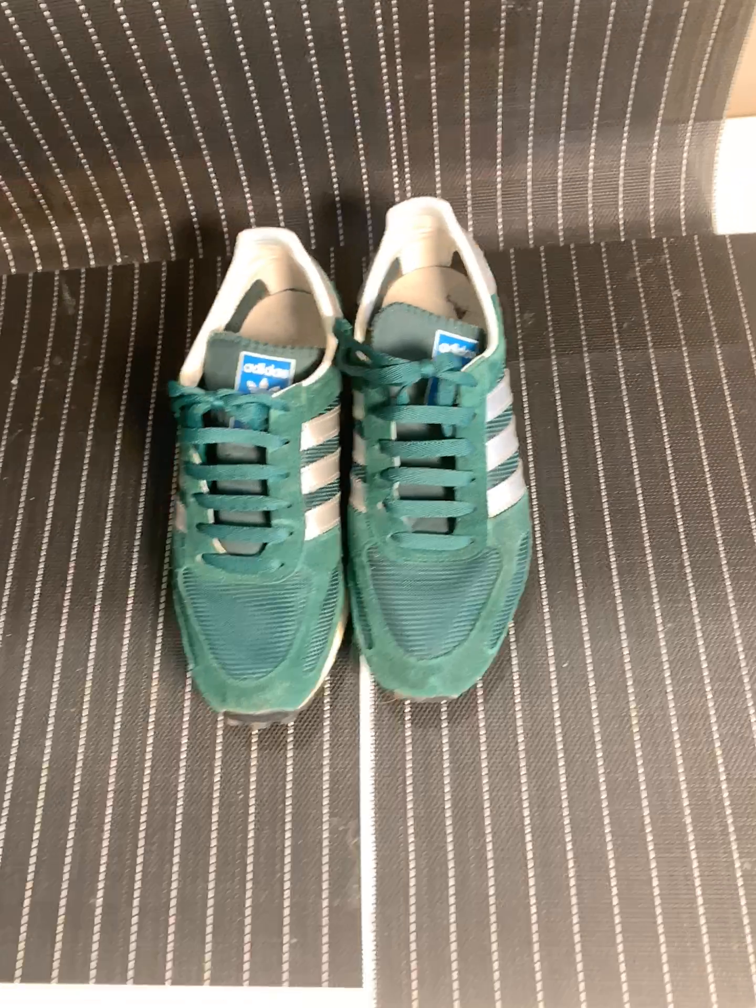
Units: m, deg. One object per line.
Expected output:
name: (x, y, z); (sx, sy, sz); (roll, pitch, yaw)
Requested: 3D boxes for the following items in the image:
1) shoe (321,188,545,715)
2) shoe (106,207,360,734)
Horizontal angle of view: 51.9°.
shoe: (0.032, -0.028, 0.455); (0.100, 0.120, 0.280); (-1, 68, 6)
shoe: (-0.069, -0.022, 0.450); (0.100, 0.090, 0.290); (-1, 68, 6)
